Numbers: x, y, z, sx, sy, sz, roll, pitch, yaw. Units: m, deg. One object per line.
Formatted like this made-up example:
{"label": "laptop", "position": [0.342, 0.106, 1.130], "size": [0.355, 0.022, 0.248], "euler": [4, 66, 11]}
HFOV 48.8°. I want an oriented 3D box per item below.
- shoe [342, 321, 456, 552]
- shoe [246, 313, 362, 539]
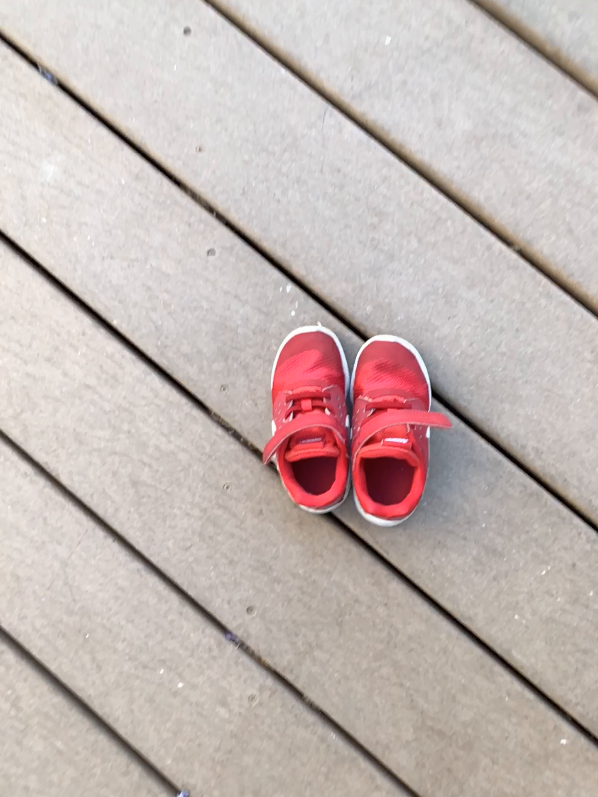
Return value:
{"label": "shoe", "position": [0.077, 0.028, 0.529], "size": [0.077, 0.087, 0.167], "euler": [2, 90, 4]}
{"label": "shoe", "position": [0.007, 0.021, 0.542], "size": [0.077, 0.087, 0.167], "euler": [-4, 90, 4]}
